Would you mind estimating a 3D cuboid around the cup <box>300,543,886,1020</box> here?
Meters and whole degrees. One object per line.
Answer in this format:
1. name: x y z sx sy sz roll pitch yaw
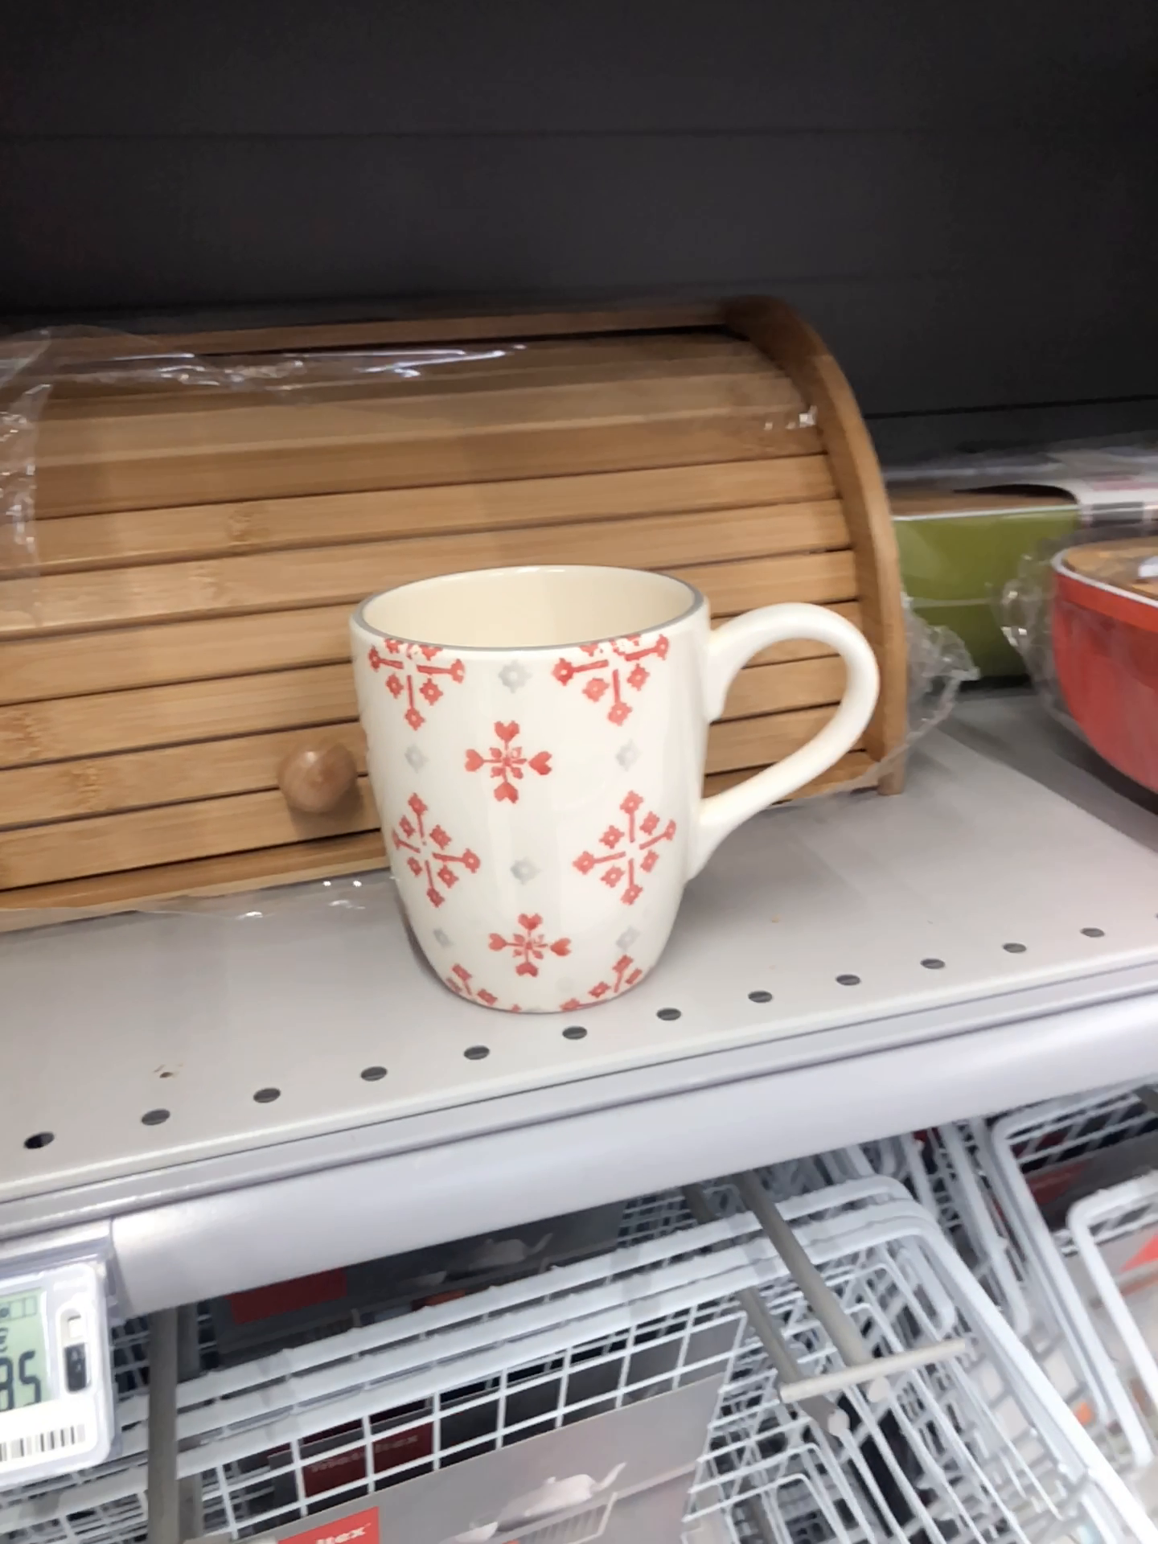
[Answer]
1. cup: 0.003 -0.003 0.329 0.124 0.089 0.090 -2 22 -1
